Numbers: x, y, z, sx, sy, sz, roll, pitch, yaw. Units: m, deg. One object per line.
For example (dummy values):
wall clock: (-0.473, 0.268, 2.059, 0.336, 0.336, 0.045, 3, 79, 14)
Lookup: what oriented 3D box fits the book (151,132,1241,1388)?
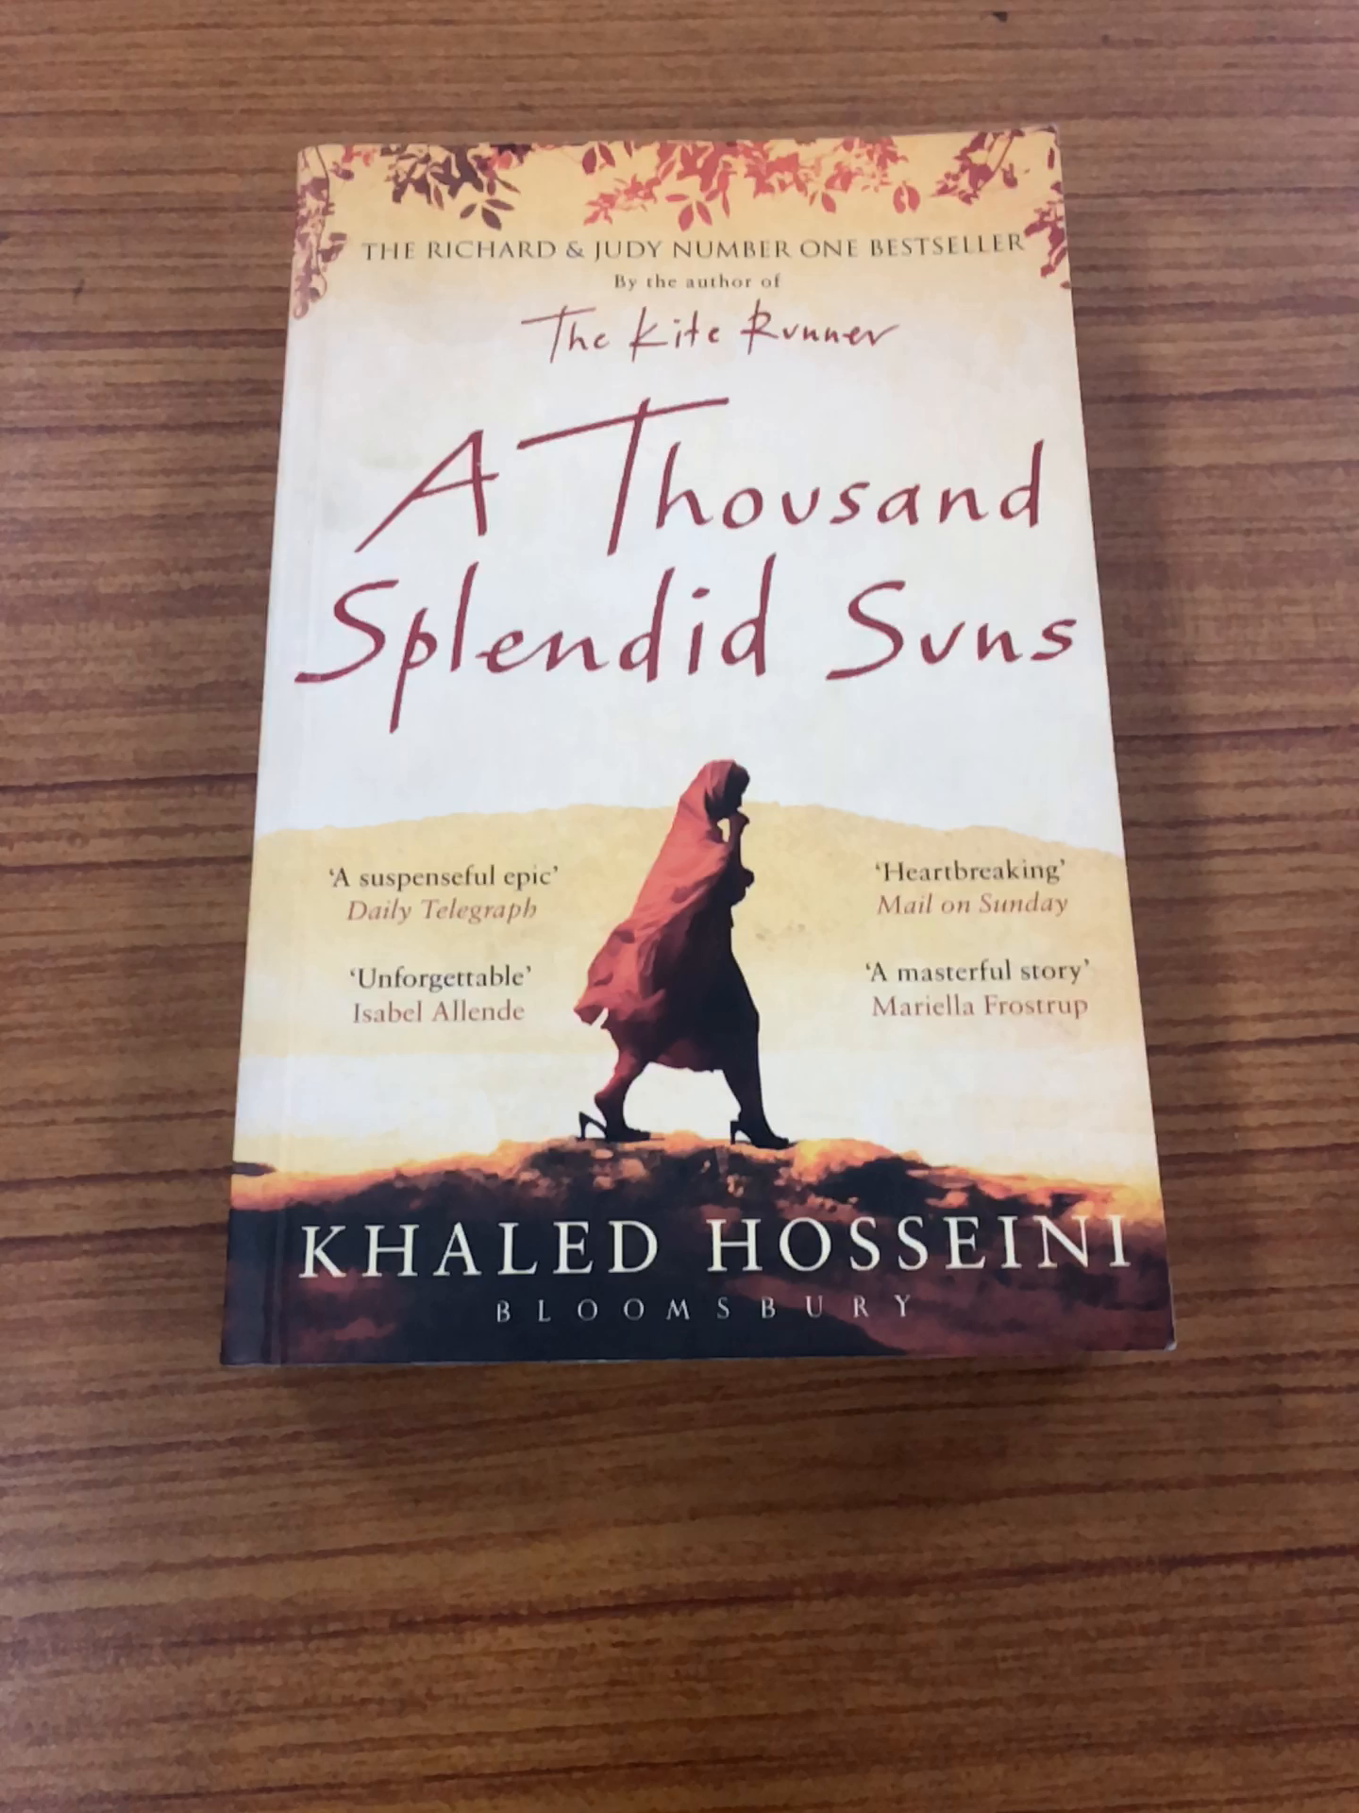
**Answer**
book: (0.001, -0.028, 0.234, 0.140, 0.030, 0.190, -1, 75, -2)
